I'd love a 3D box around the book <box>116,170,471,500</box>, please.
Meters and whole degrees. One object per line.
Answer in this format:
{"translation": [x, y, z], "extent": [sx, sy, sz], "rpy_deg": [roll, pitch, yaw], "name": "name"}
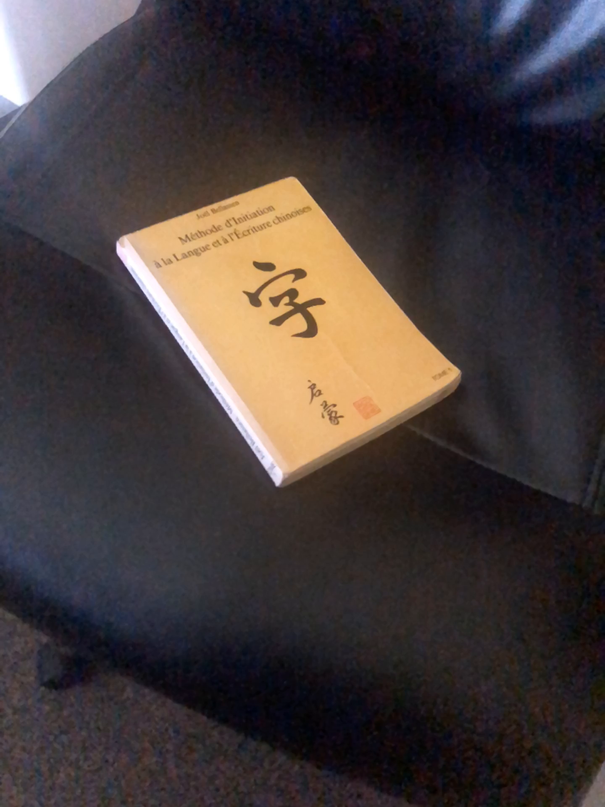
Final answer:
{"translation": [-0.012, -0.063, 0.473], "extent": [0.153, 0.028, 0.220], "rpy_deg": [-27, 66, -20], "name": "book"}
